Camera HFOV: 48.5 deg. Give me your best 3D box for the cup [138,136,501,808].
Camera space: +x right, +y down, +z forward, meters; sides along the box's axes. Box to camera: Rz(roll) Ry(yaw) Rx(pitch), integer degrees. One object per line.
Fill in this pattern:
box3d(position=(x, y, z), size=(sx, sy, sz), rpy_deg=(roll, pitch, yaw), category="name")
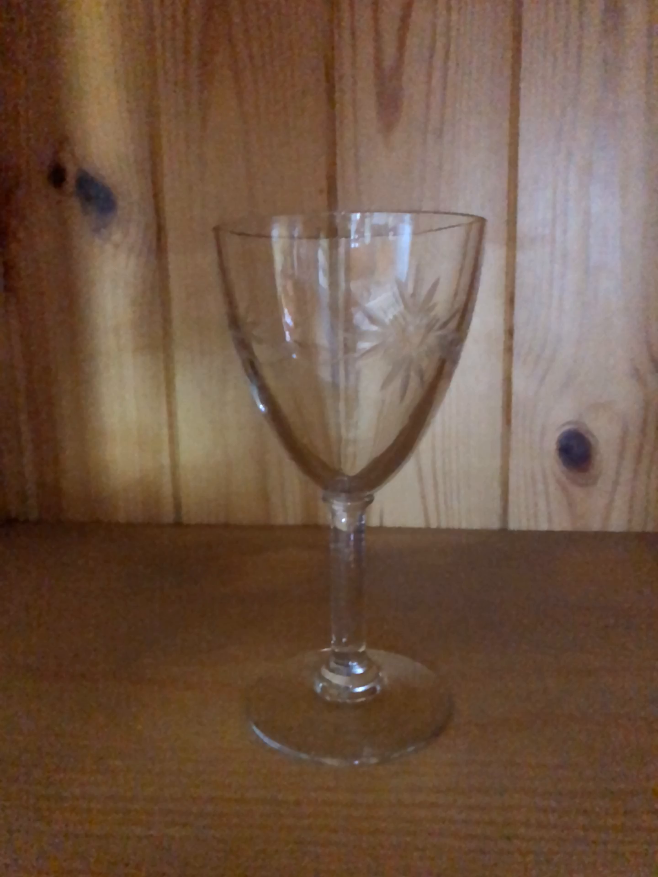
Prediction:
box3d(position=(0.004, 0.004, 0.191), size=(0.070, 0.140, 0.070), rpy_deg=(-1, 11, 0), category="cup")
